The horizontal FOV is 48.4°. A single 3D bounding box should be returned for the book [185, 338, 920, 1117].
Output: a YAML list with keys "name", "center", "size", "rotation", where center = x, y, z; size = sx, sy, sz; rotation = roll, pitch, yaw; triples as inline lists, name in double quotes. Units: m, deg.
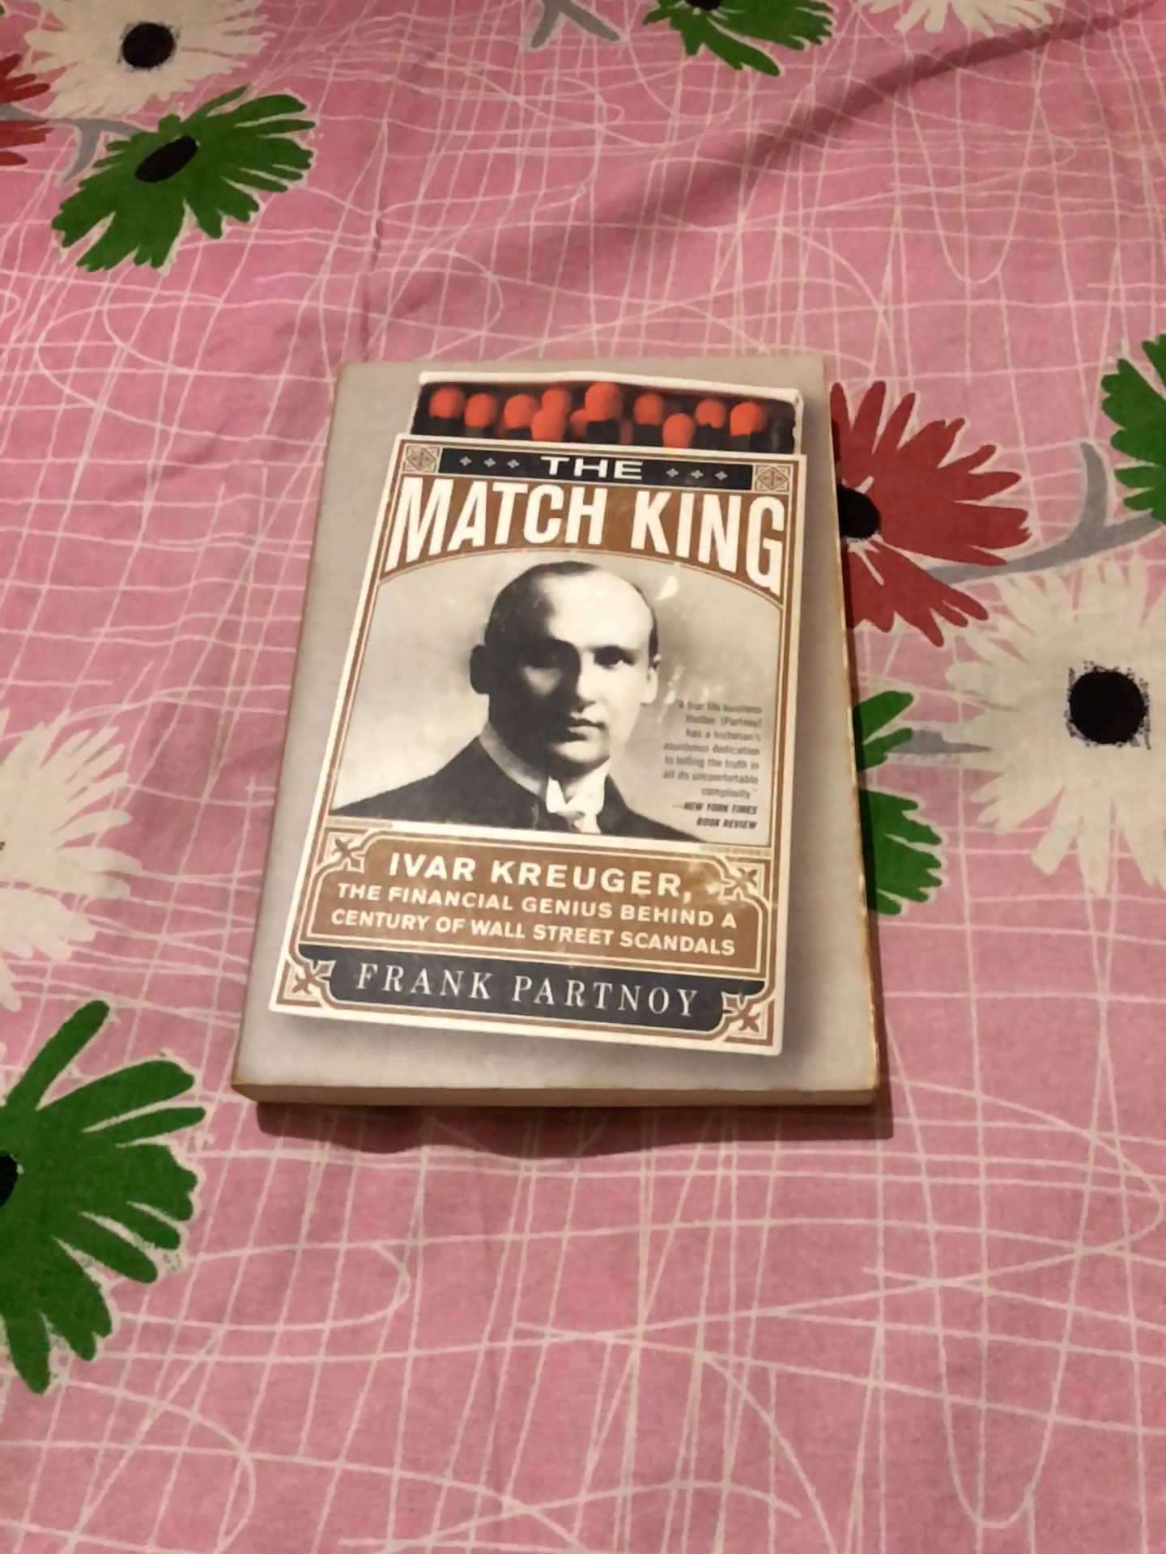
- name: "book"
  center: [-0.005, -0.029, 0.360]
  size: [0.160, 0.030, 0.241]
  rotation: [0, 57, 2]
